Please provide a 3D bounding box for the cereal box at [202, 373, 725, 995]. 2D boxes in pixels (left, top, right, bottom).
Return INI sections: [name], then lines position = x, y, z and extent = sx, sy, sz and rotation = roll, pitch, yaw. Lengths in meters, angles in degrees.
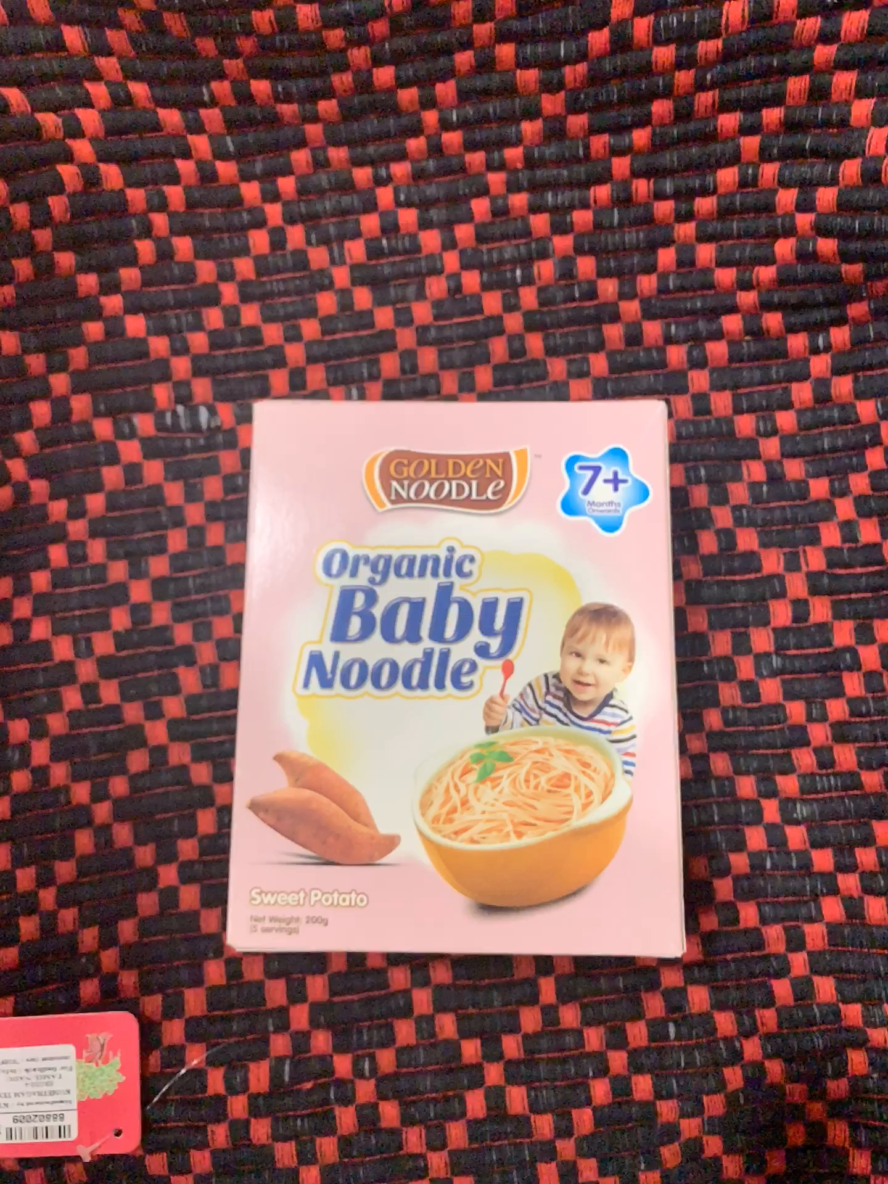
[cereal box]
position = 0.006, 0.023, 0.266
extent = 0.130, 0.050, 0.160
rotation = 0, 82, 2
